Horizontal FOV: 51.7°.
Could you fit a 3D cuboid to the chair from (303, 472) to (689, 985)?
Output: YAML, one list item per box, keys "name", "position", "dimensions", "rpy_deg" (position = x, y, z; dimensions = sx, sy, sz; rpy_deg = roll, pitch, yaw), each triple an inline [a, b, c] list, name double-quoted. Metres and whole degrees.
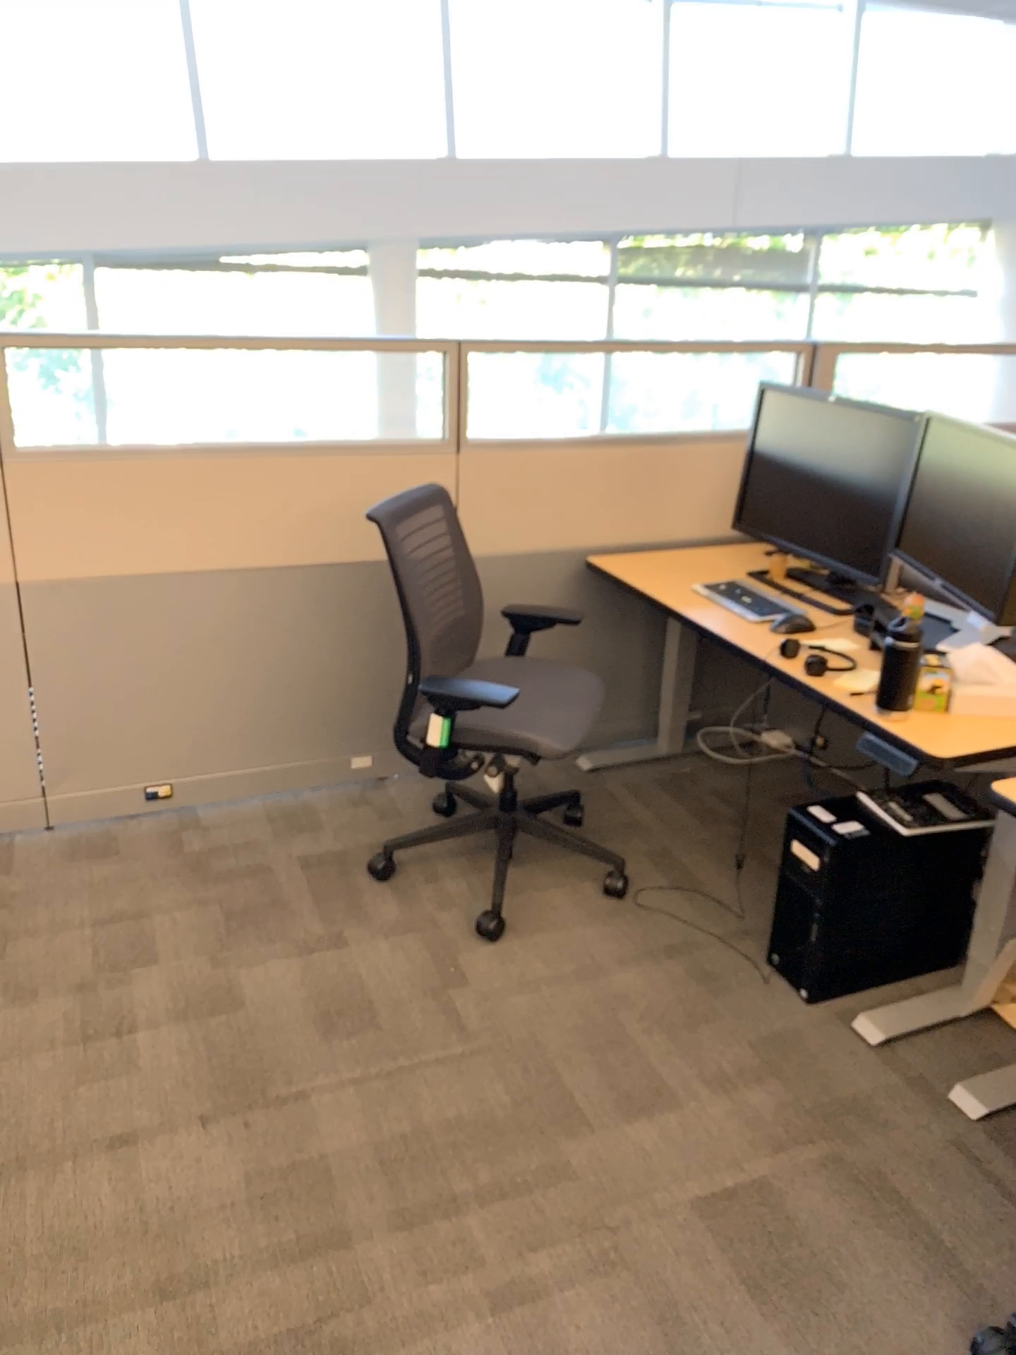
- name: "chair"
  position: [-0.005, 0.077, 2.877]
  dimensions: [0.801, 1.085, 0.773]
  rpy_deg: [8, 22, 15]

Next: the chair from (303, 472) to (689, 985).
- name: "chair"
  position: [-0.005, 0.077, 2.877]
  dimensions: [0.801, 1.085, 0.773]
  rpy_deg: [8, 22, 15]
